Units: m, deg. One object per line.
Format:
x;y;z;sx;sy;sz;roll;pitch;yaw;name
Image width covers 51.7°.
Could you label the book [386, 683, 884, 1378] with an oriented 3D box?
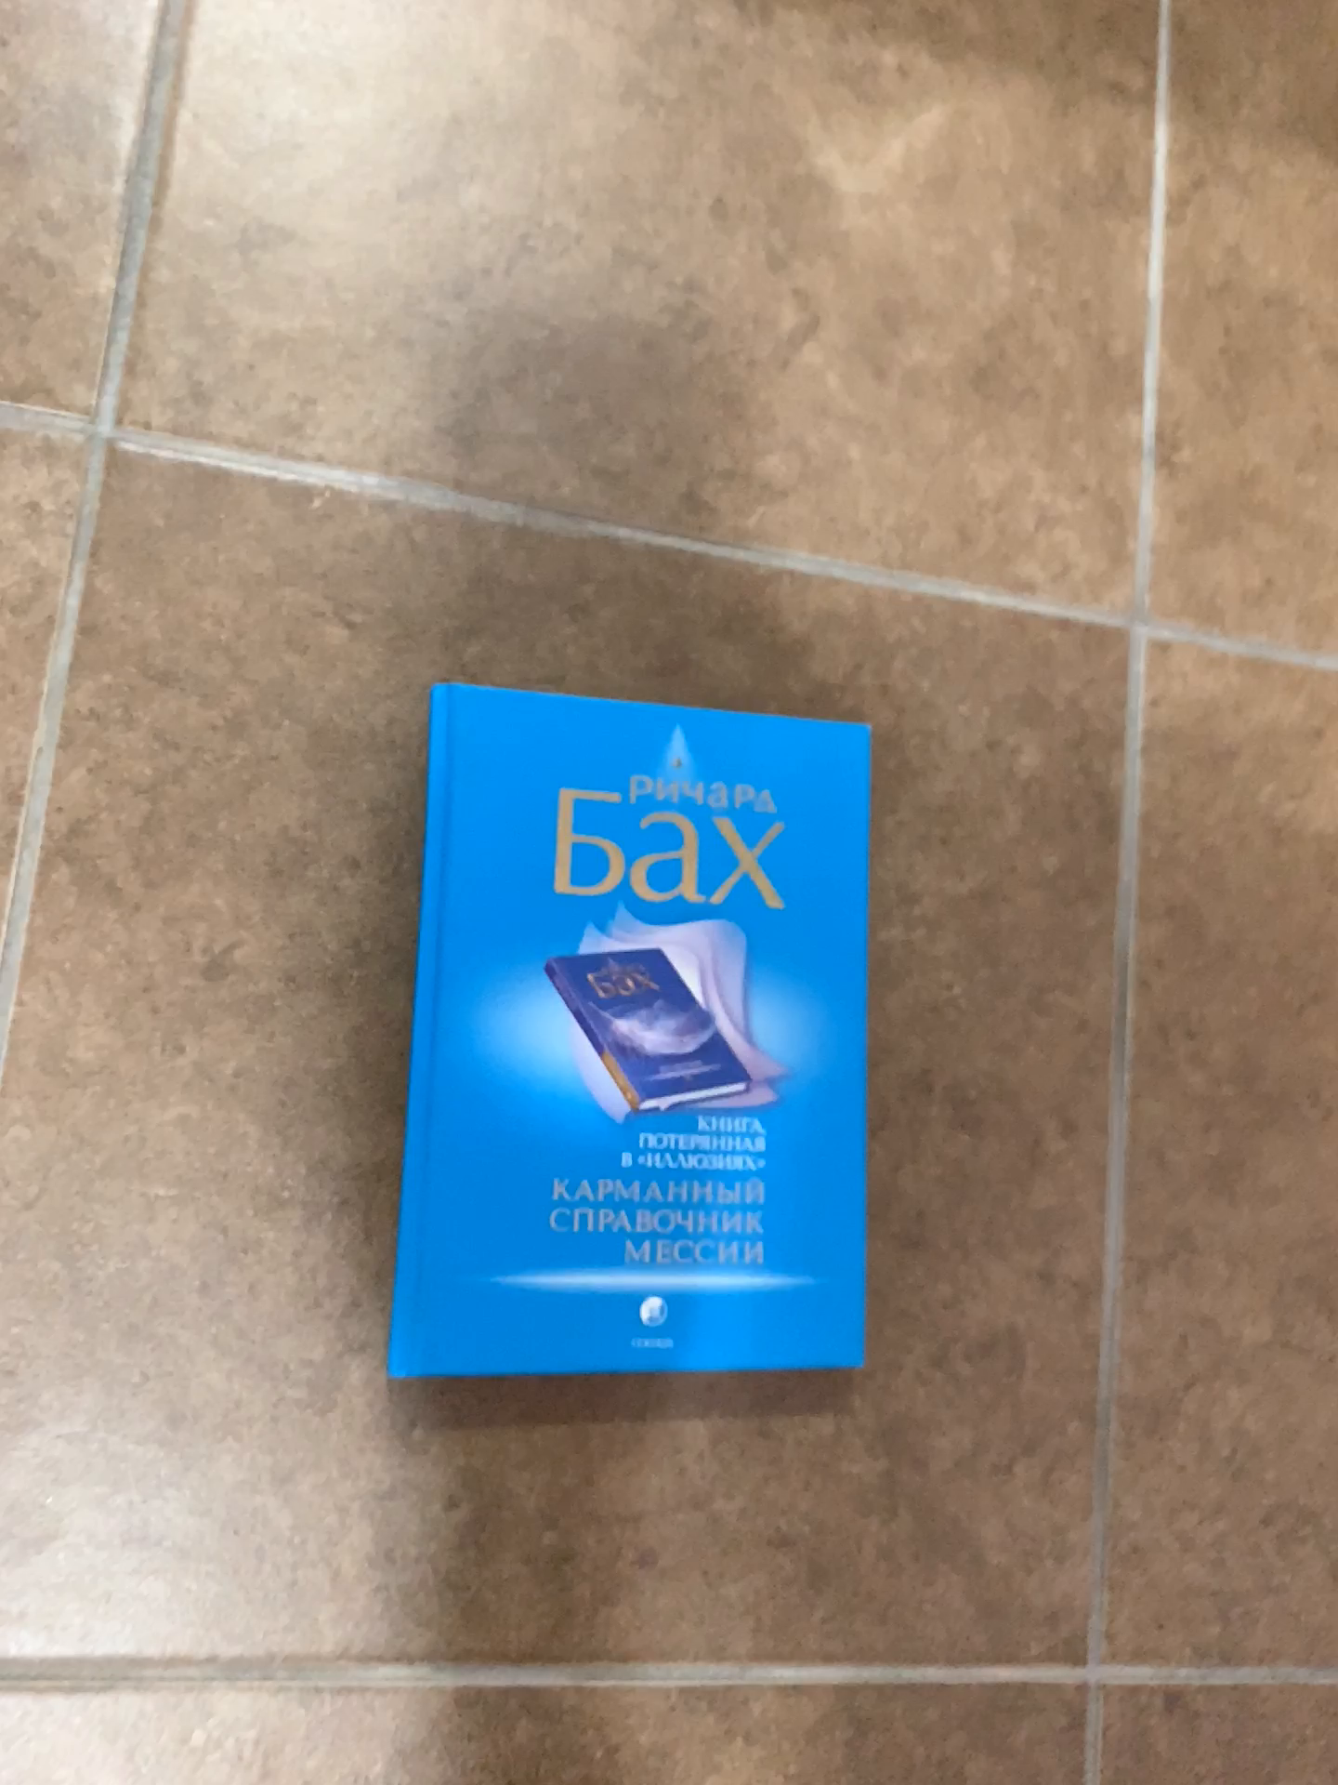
-0.005;0.036;0.358;0.122;0.015;0.169;4;81;-13;book
